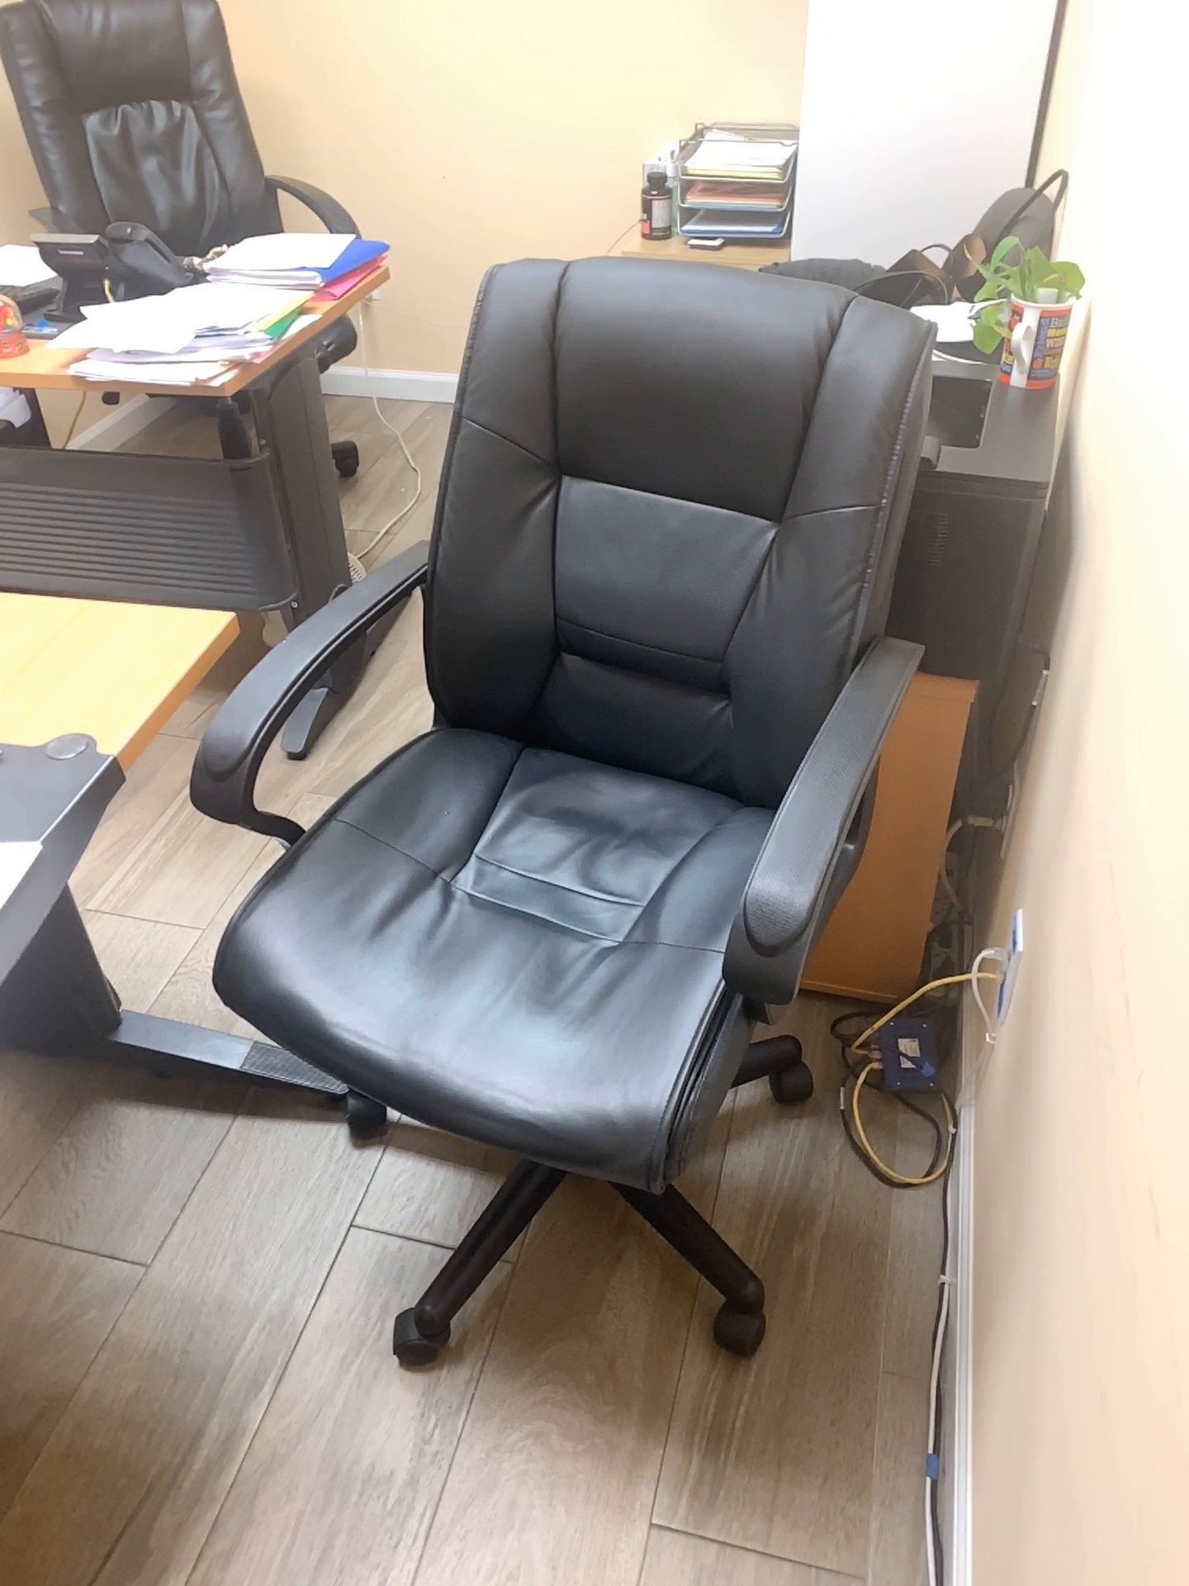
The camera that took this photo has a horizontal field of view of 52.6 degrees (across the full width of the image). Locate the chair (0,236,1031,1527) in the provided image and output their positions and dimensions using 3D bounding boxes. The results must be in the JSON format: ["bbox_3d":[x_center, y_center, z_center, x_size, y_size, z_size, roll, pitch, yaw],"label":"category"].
[{"bbox_3d":[-0.038,0.057,1.202,0.620,0.946,0.665,16,41,21],"label":"chair"}]
